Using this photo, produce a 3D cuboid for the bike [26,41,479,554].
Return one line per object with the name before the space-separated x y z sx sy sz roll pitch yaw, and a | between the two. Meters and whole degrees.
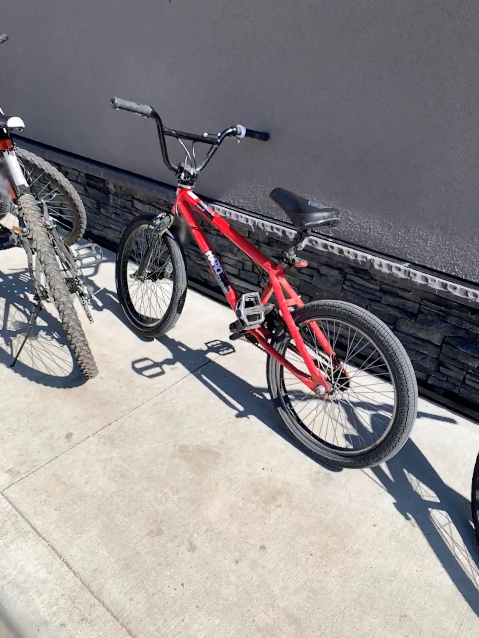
bike | 0.045 -0.250 1.603 0.775 0.908 1.315 -23 43 -40
